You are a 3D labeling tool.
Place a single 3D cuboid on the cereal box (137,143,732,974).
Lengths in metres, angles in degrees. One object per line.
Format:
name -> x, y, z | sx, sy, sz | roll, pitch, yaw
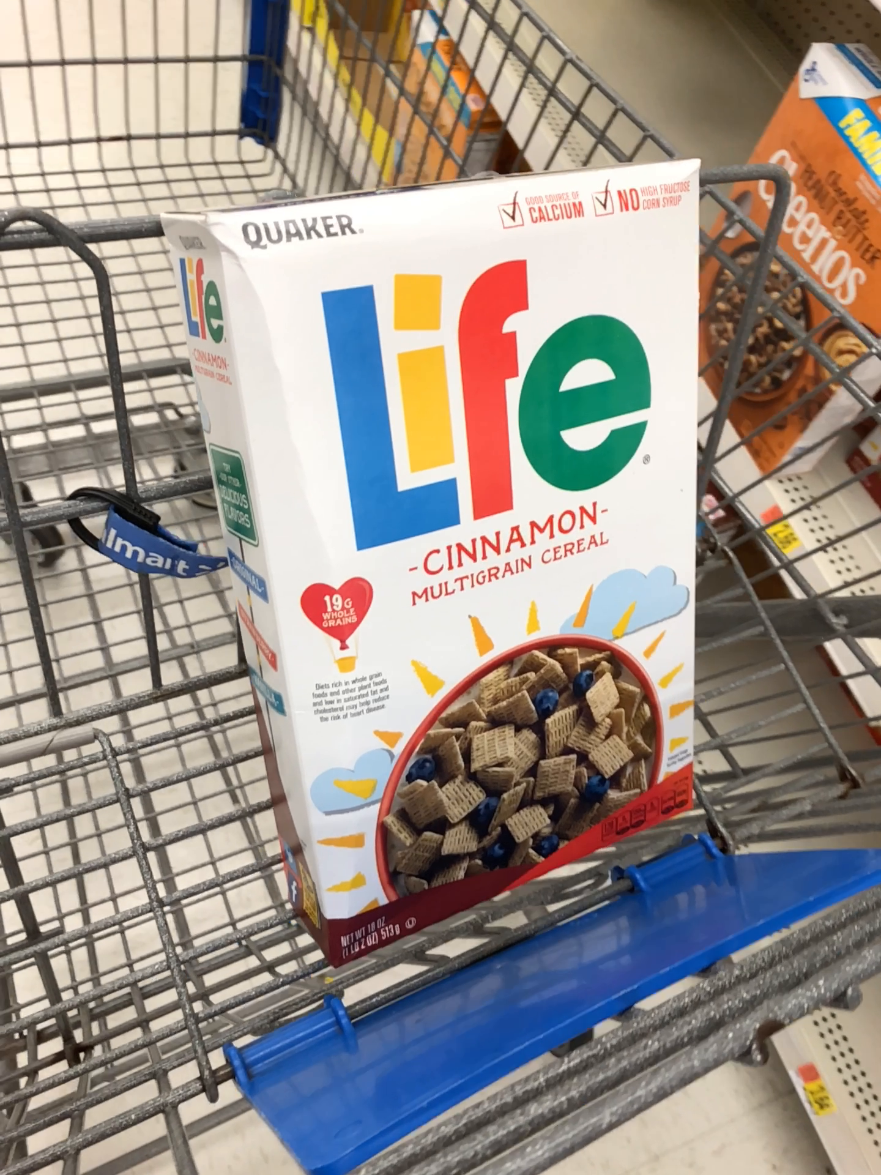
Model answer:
cereal box -> 0.016, -0.015, 0.395 | 0.200, 0.280, 0.070 | -17, 24, -23
